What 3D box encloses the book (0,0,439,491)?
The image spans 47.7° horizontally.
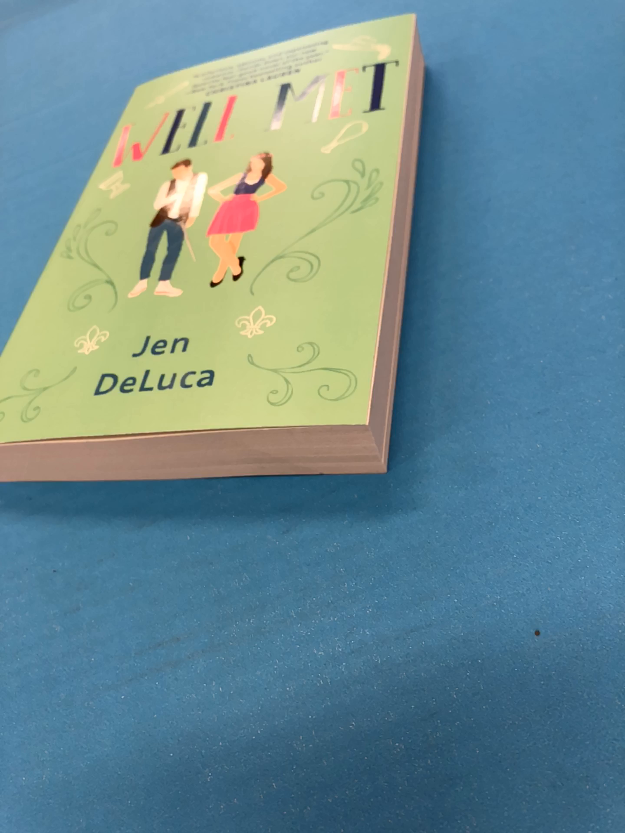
[{"bbox_3d":[-0.032,-0.075,0.270,0.146,0.030,0.216,-3,54,19],"label":"book"}]
